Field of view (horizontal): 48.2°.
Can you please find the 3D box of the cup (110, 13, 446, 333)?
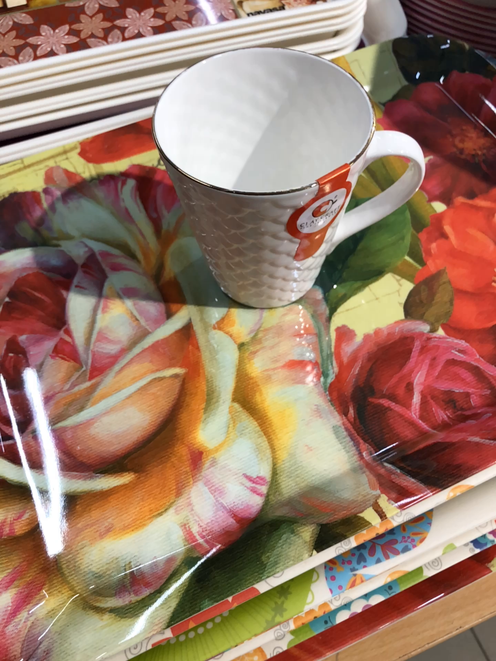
[{"bbox_3d":[0.006,-0.072,0.261,0.120,0.090,0.100,-7,56,-4],"label":"cup"}]
